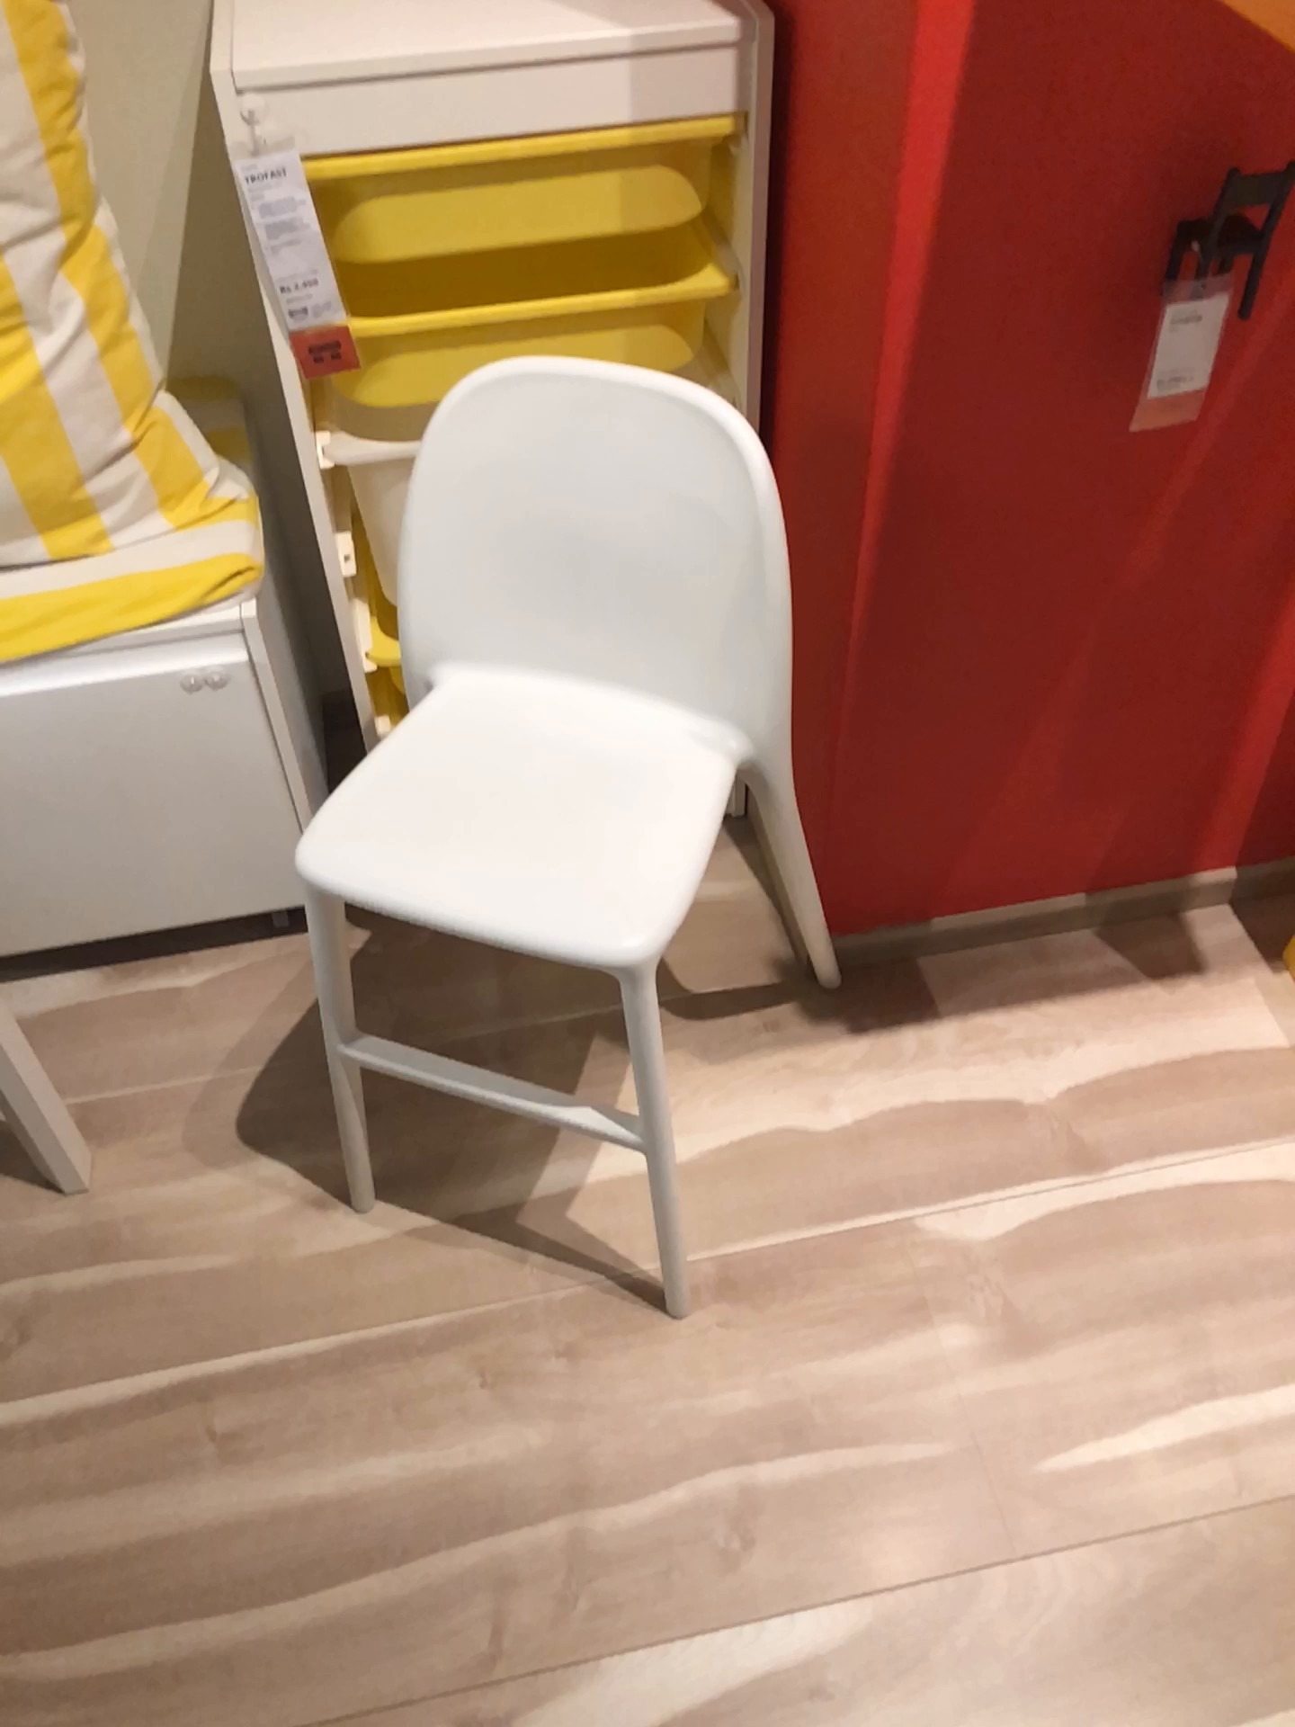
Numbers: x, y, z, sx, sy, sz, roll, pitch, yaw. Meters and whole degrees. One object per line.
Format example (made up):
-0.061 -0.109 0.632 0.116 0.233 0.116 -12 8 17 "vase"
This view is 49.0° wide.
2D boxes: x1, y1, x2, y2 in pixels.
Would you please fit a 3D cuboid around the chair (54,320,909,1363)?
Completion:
-0.072 0.010 1.216 0.420 0.706 0.462 14 52 14 "chair"
